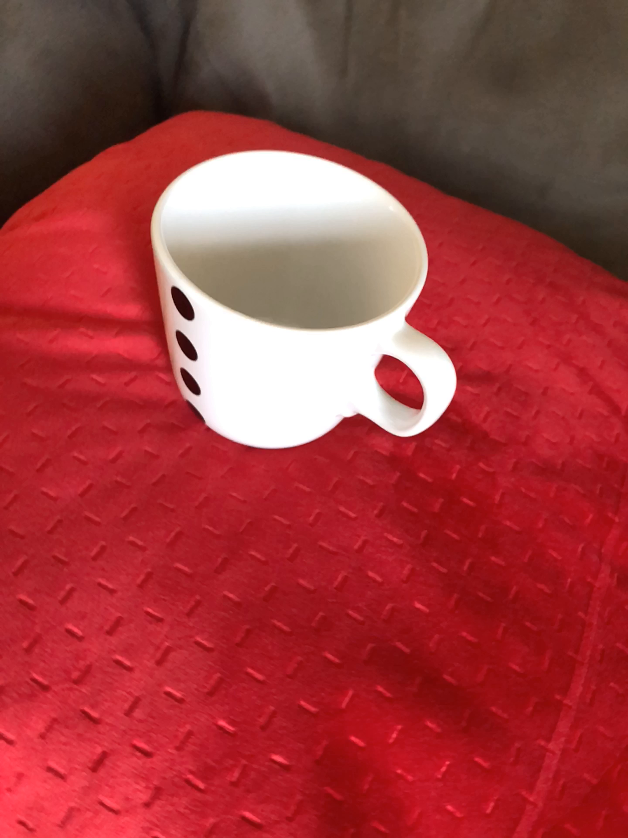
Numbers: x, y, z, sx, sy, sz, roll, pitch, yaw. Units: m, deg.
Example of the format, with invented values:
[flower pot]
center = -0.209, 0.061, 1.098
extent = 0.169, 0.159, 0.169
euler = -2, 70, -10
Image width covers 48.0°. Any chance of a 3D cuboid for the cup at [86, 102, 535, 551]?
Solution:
[cup]
center = -0.006, -0.034, 0.241
extent = 0.110, 0.080, 0.080
euler = 38, 55, 18
